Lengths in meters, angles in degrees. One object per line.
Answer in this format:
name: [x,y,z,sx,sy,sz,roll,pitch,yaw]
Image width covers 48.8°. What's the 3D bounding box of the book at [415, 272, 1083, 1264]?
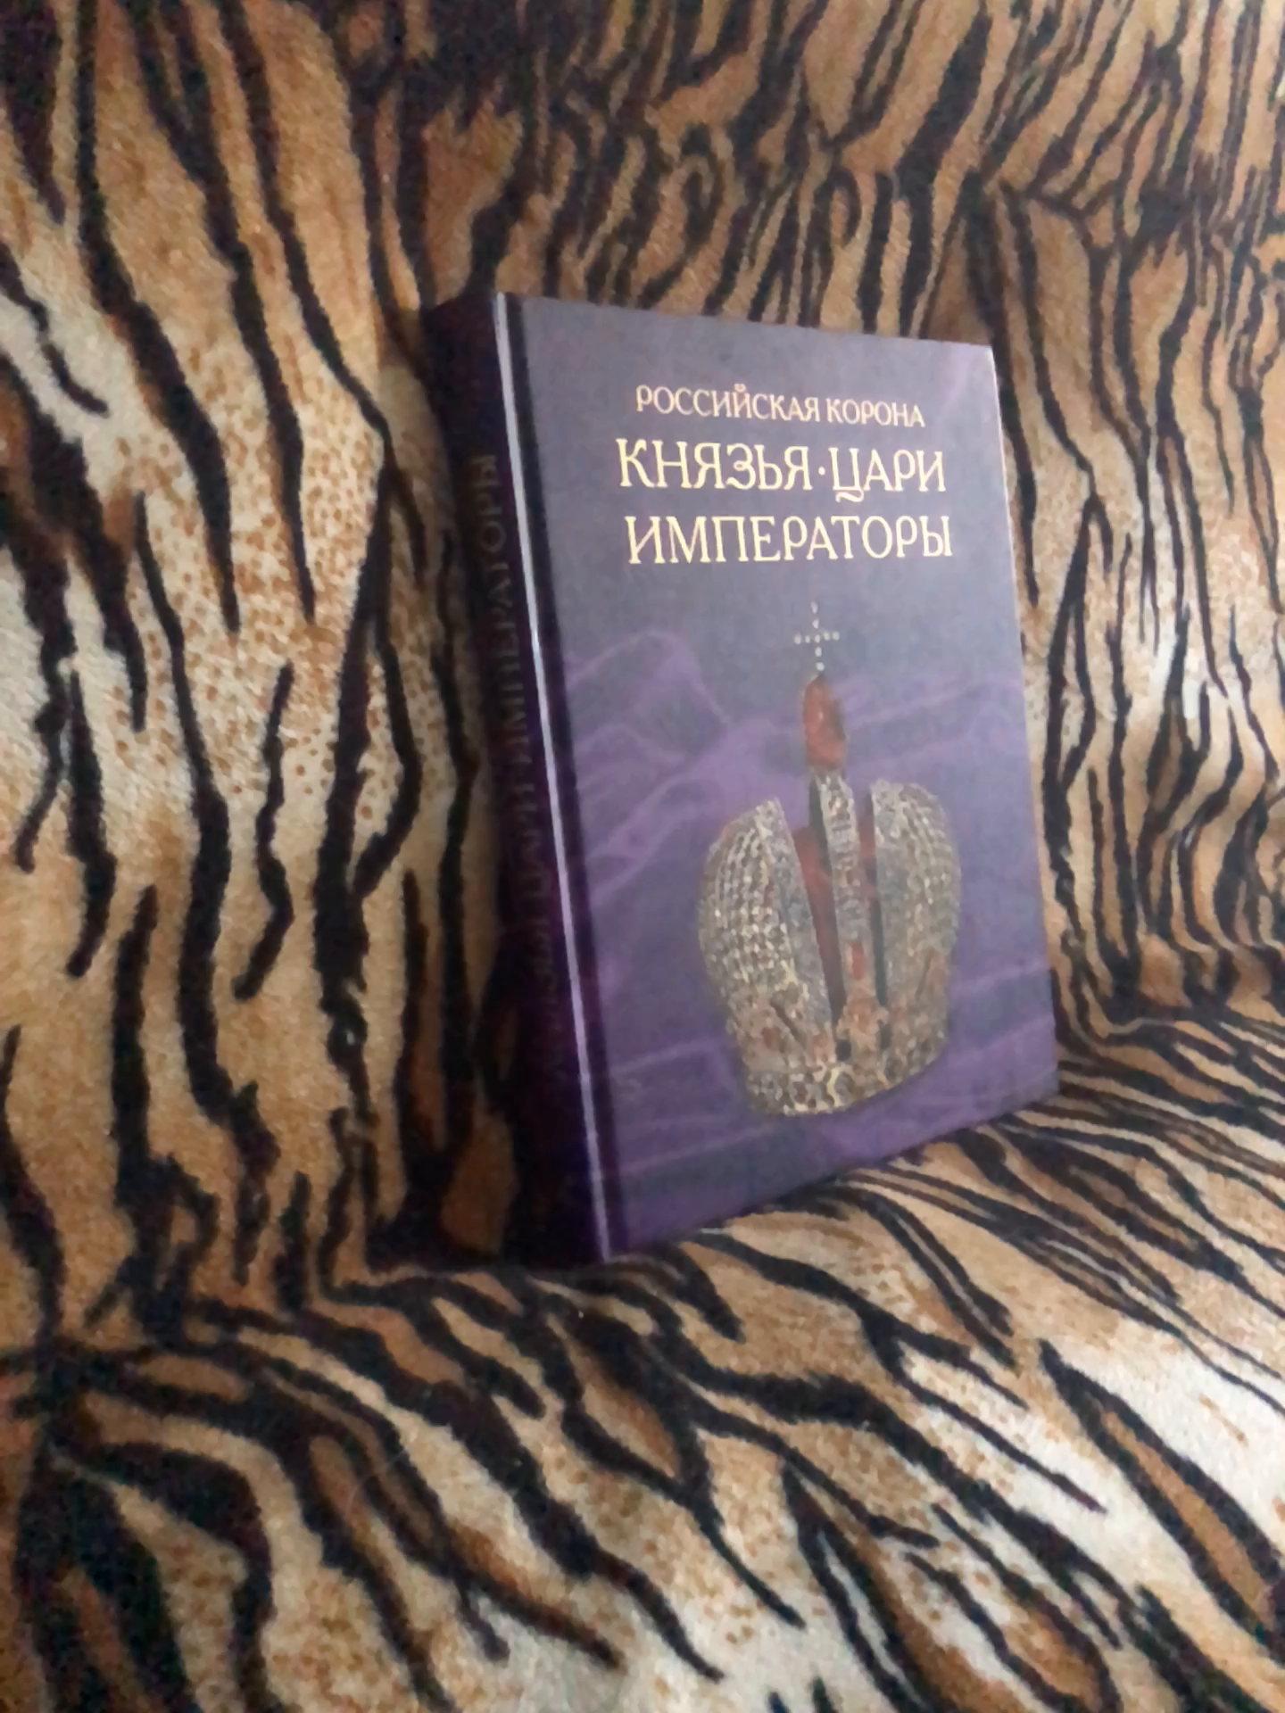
book: [0.050,-0.037,0.475,0.223,0.280,0.035,-10,6,-35]
